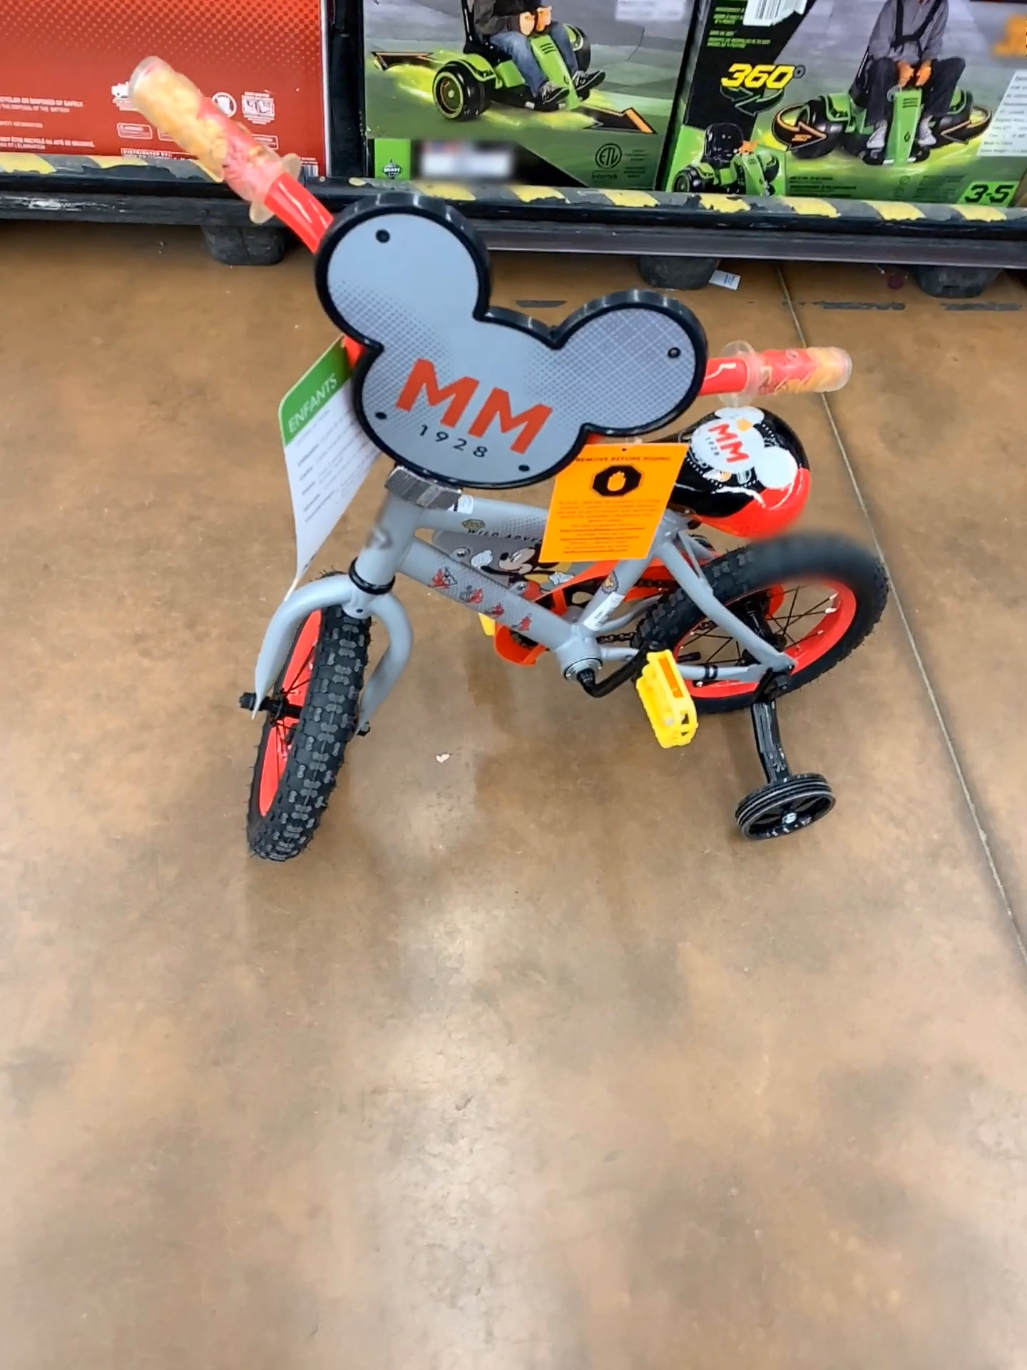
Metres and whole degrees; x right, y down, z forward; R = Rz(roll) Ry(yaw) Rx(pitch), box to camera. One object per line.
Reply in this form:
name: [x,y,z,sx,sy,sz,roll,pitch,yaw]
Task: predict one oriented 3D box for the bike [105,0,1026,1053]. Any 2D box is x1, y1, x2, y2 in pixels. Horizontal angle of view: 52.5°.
bike: [0.065,-0.120,0.932,0.641,0.689,0.453,-18,58,-14]
